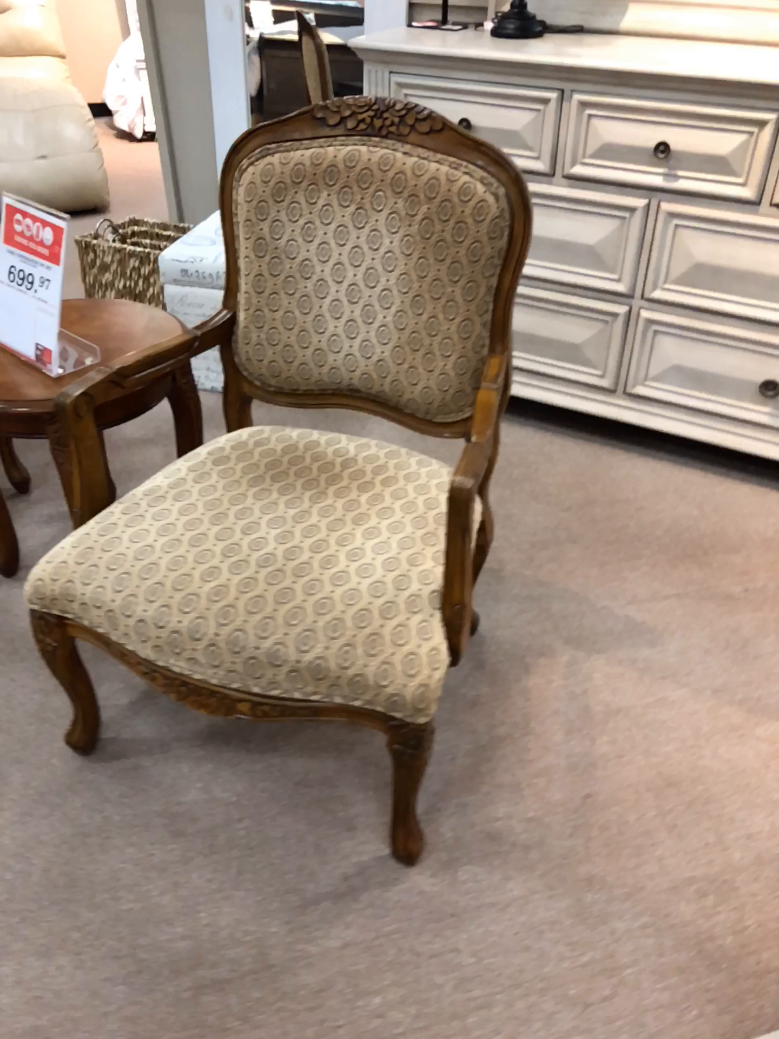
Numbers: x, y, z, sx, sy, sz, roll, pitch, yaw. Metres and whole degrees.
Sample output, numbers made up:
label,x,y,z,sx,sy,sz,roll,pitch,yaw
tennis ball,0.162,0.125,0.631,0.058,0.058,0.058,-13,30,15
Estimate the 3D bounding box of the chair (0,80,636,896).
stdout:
label,x,y,z,sx,sy,sz,roll,pitch,yaw
chair,-0.112,-0.090,1.477,0.781,1.063,0.704,13,37,17
